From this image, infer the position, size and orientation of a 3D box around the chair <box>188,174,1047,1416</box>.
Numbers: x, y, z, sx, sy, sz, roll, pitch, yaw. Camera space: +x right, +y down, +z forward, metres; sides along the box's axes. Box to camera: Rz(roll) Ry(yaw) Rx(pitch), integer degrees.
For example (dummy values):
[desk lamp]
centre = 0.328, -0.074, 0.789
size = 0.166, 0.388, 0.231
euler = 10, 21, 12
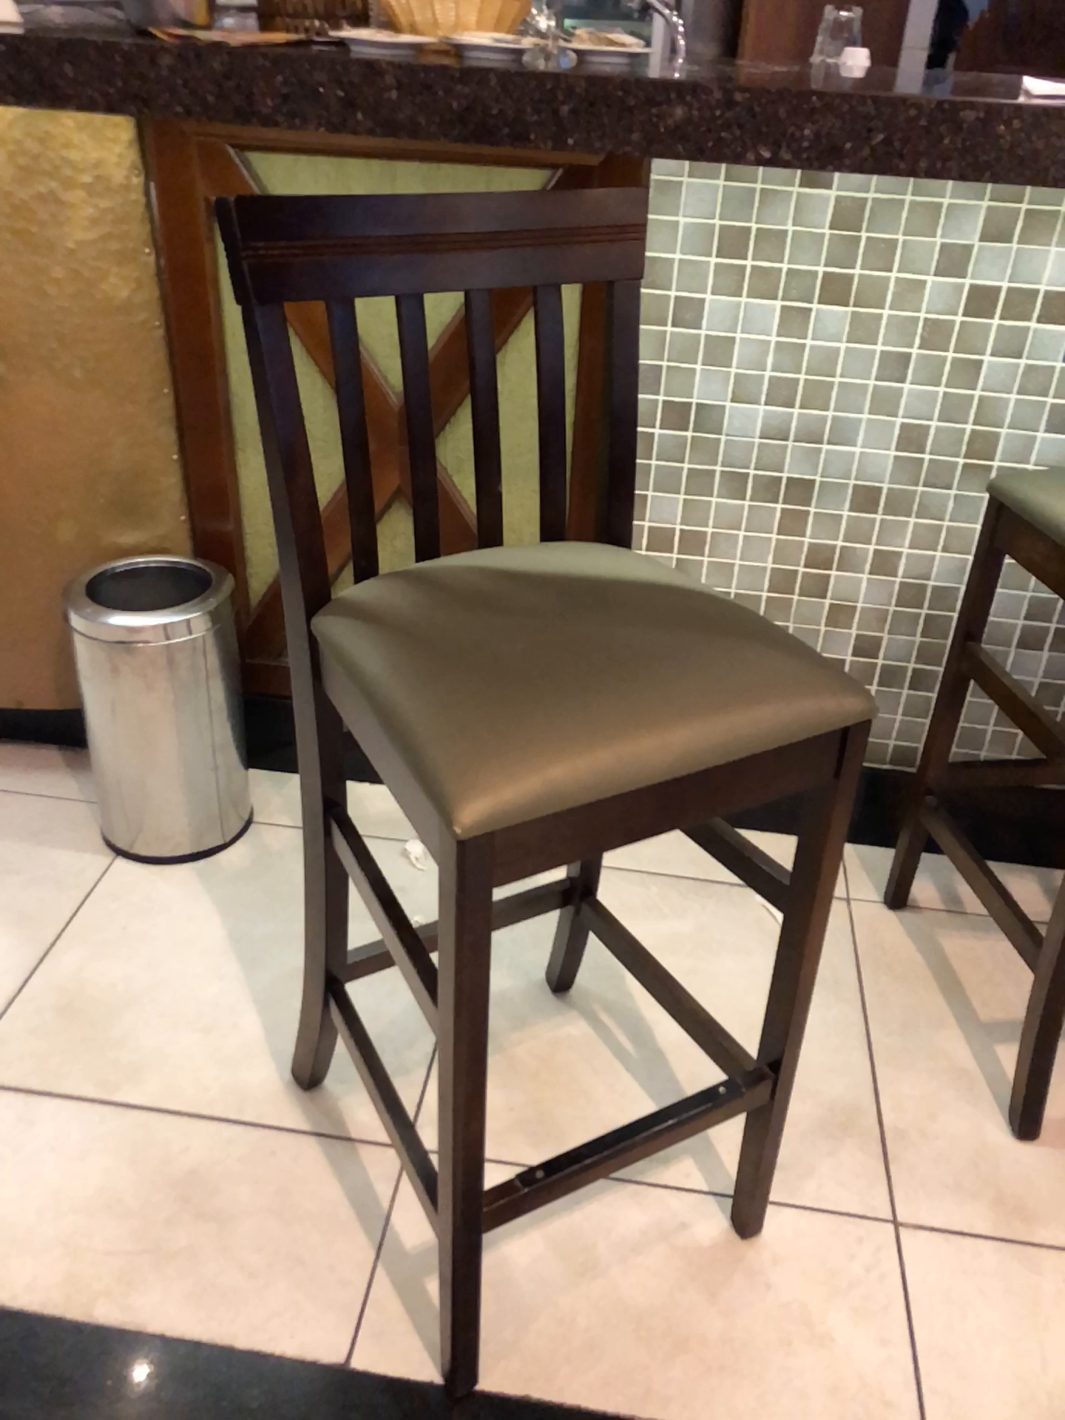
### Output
[chair]
centre = 0.014, 0.071, 1.145
size = 0.461, 1.032, 0.493
euler = -14, 35, -27
